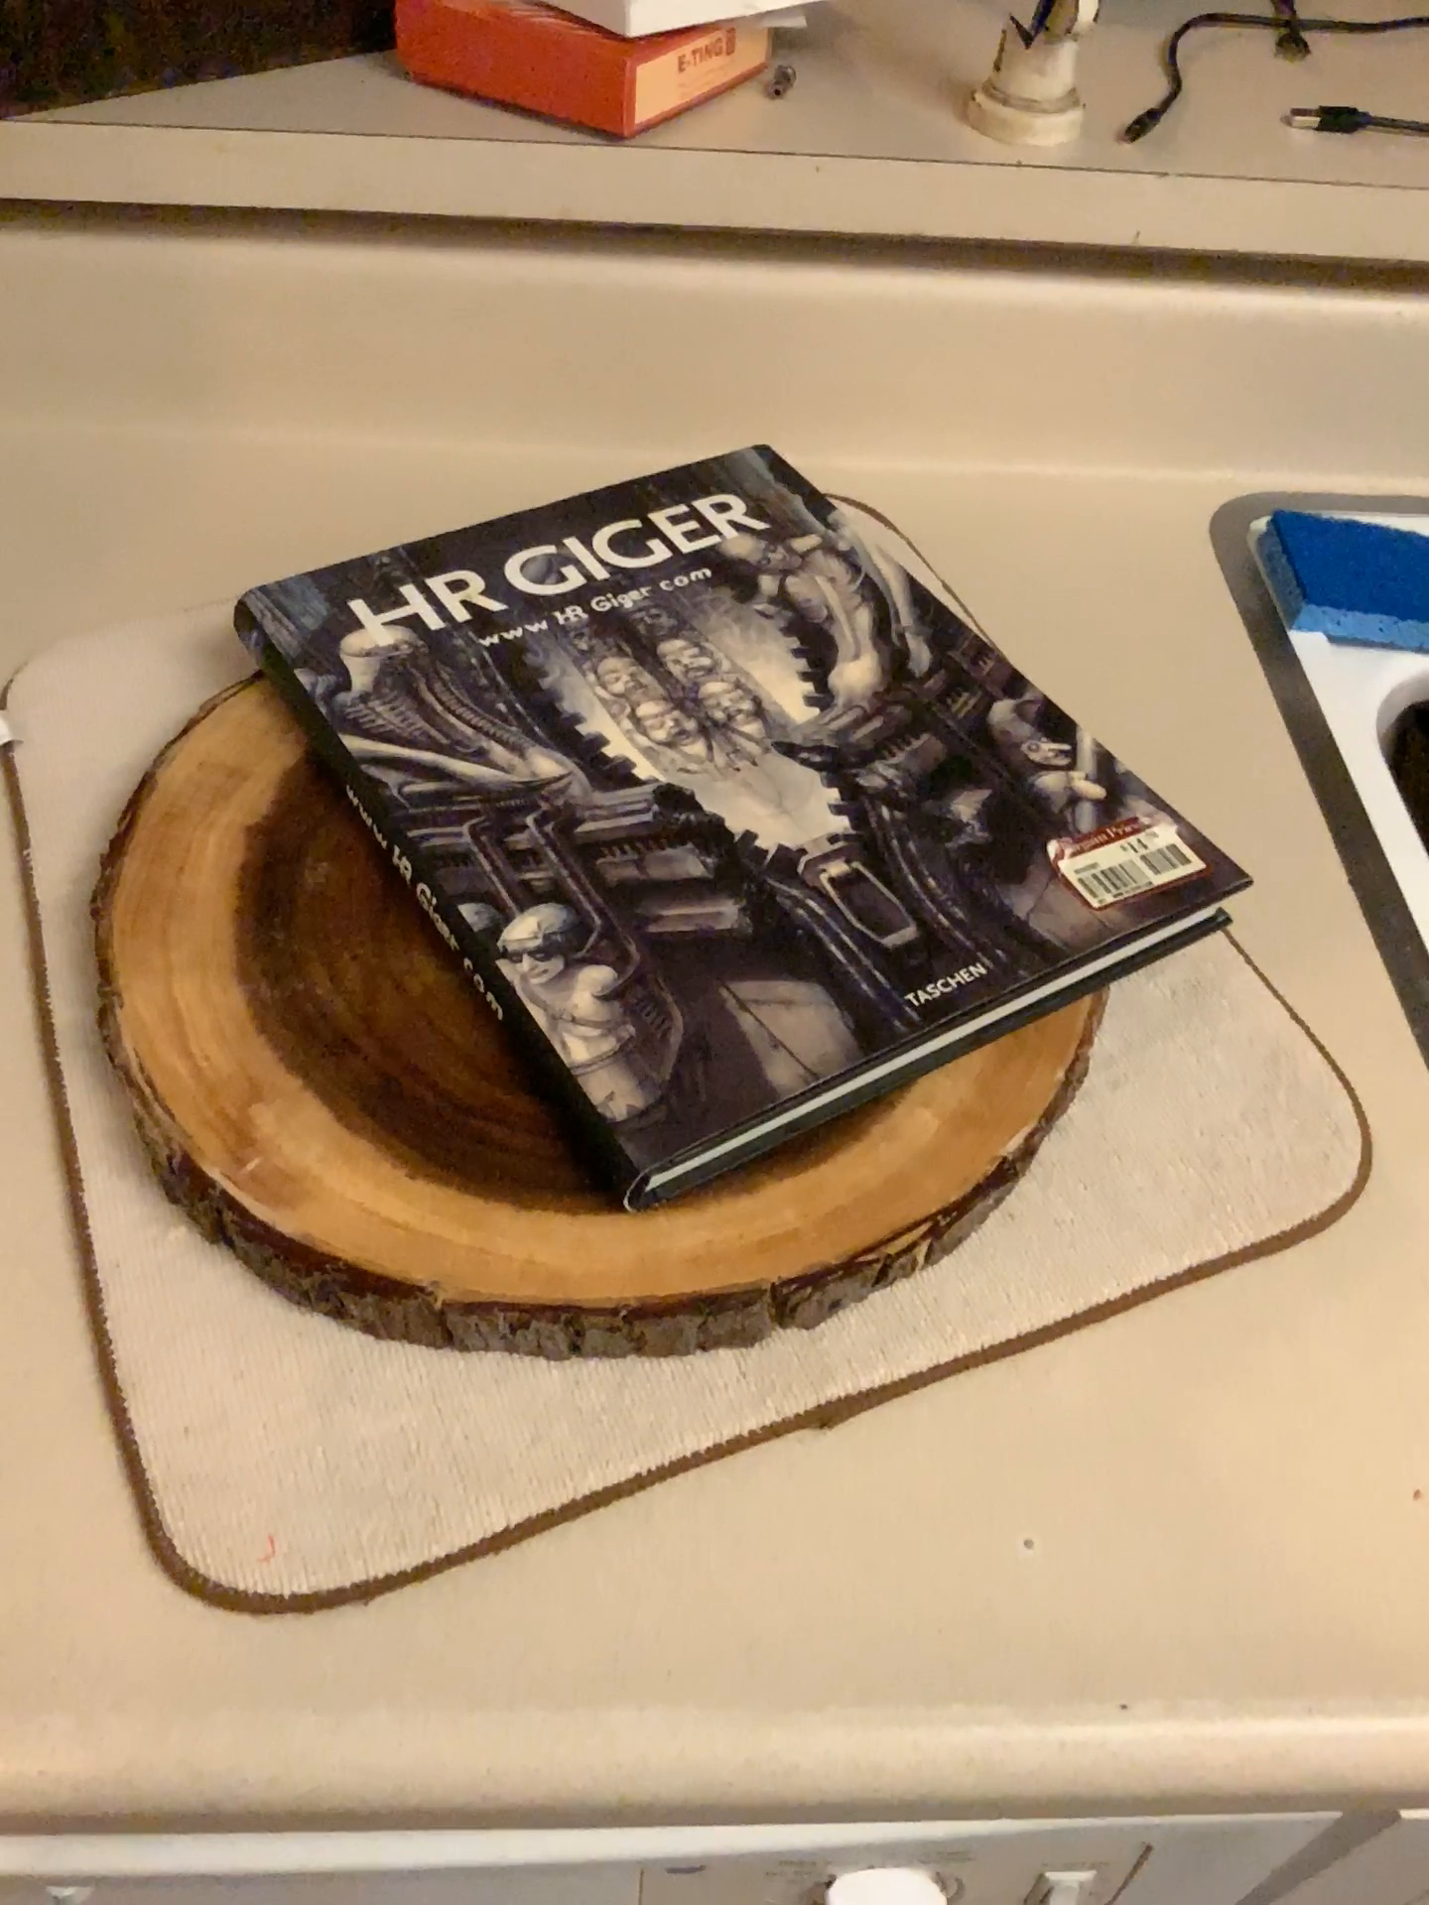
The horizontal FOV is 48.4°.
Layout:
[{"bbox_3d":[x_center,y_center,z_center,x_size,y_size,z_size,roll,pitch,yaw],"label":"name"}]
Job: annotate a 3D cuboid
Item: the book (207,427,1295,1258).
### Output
[{"bbox_3d":[0.001,-0.076,0.605,0.270,0.030,0.330,-24,54,-24],"label":"book"}]
